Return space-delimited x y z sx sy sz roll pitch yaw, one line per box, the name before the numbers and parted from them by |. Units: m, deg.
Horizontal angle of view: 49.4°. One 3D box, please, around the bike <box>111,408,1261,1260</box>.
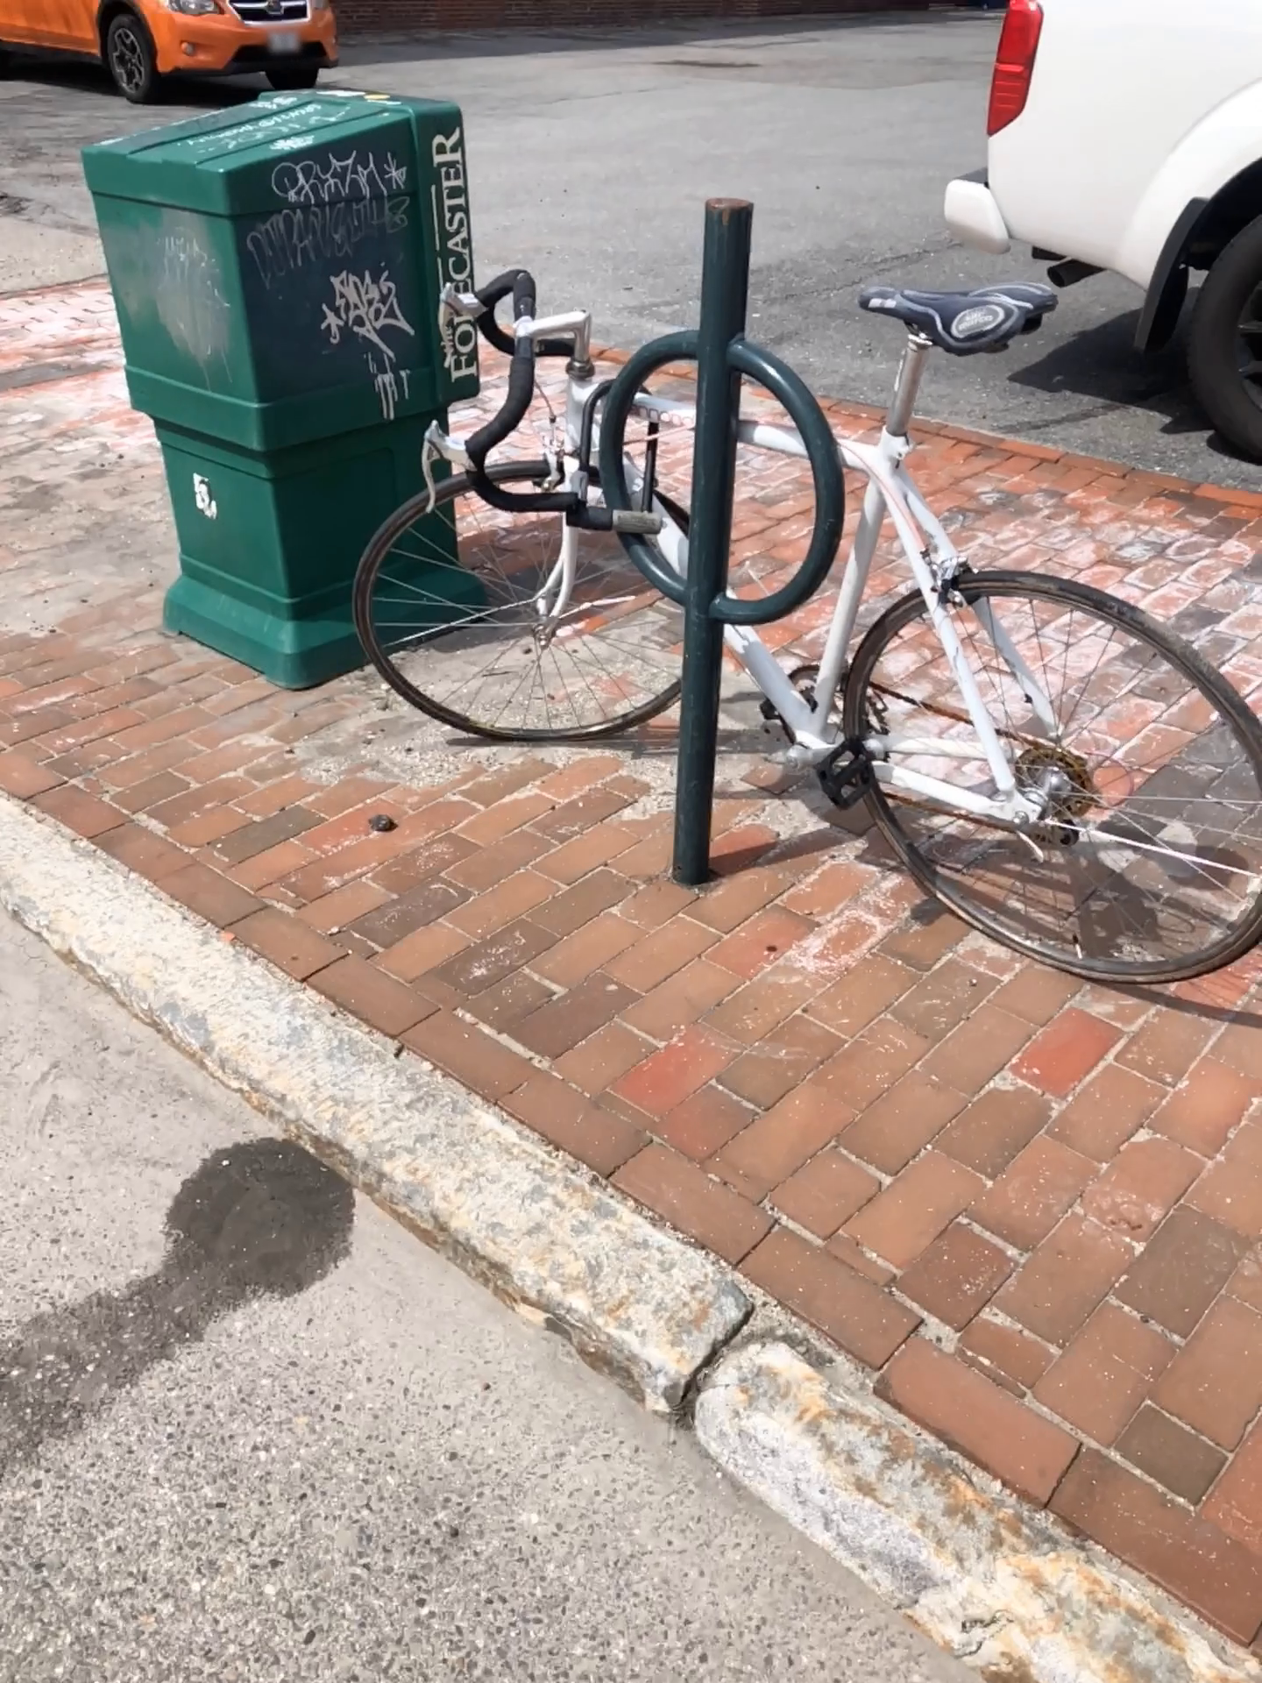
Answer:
bike | 0.079 -0.092 1.664 1.275 0.650 0.467 16 36 28
